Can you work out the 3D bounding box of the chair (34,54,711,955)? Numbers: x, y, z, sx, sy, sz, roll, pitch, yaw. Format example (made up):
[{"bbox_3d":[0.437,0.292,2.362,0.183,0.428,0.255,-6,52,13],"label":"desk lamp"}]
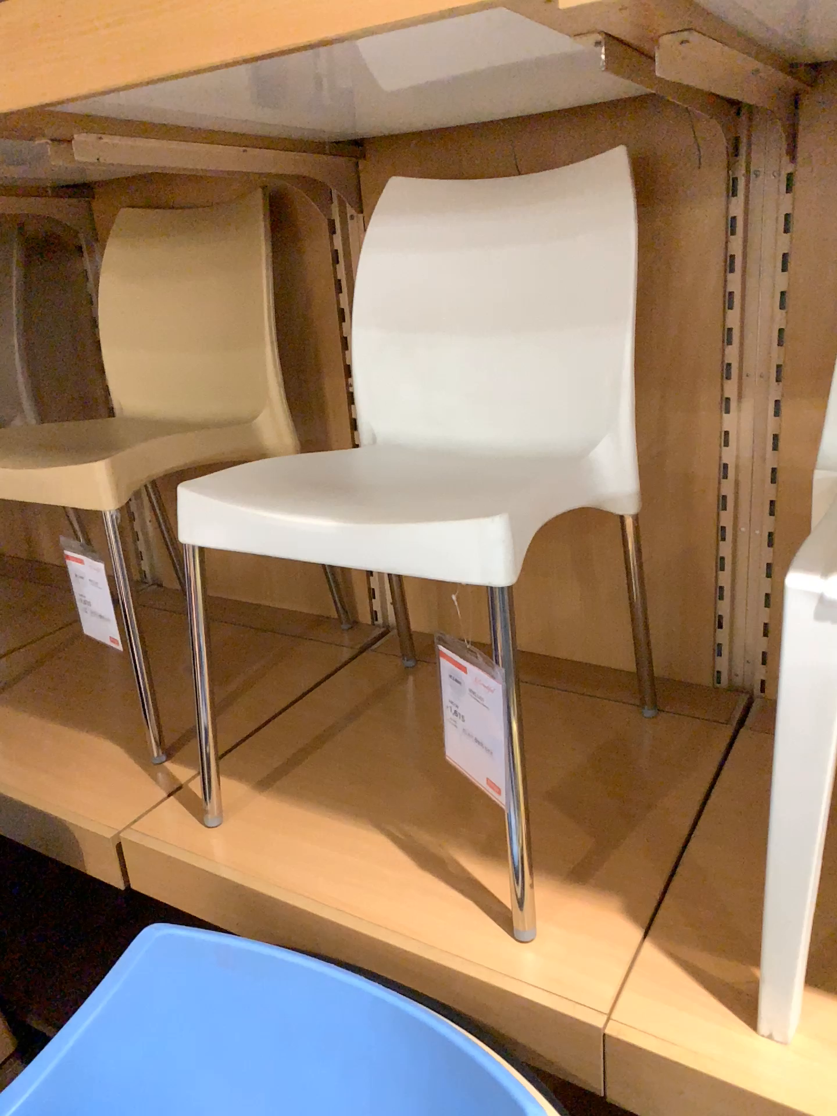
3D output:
[{"bbox_3d":[0.025,-0.118,1.258,0.611,0.917,0.681,7,23,30],"label":"chair"}]
